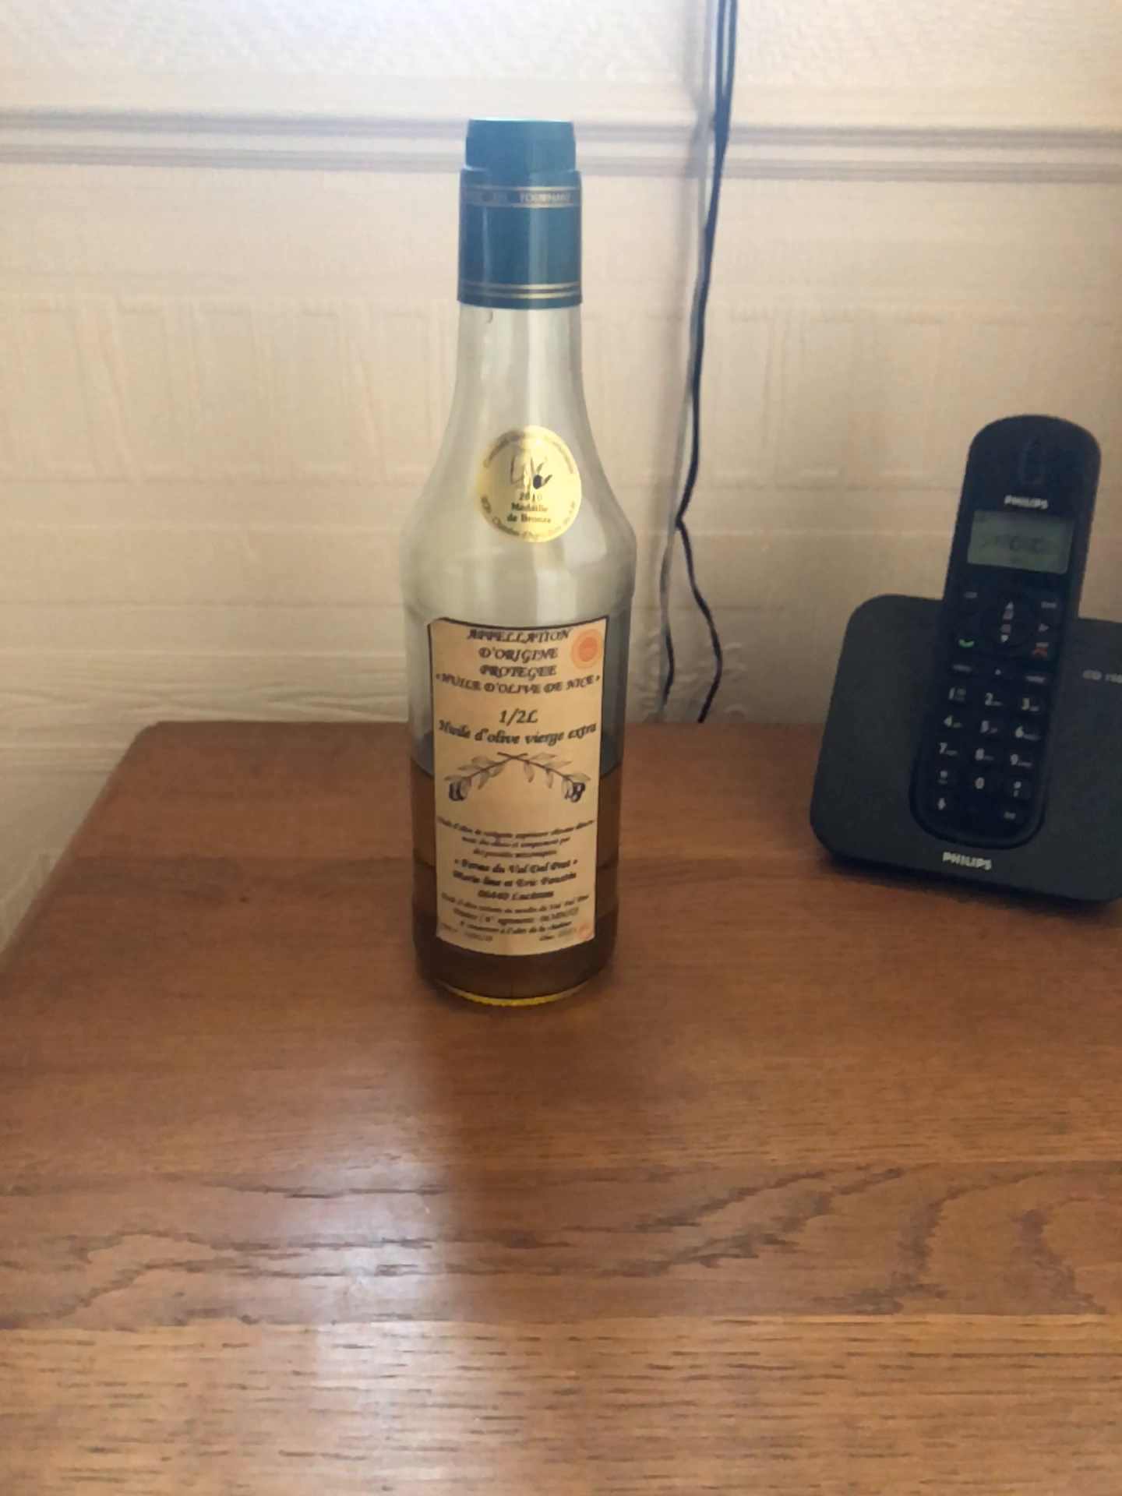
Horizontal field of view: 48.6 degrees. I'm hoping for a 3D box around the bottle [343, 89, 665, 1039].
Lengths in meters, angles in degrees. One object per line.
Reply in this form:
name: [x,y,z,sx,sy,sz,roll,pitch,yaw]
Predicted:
bottle: [-0.015,-0.044,0.363,0.070,0.259,0.080,0,26,-1]
